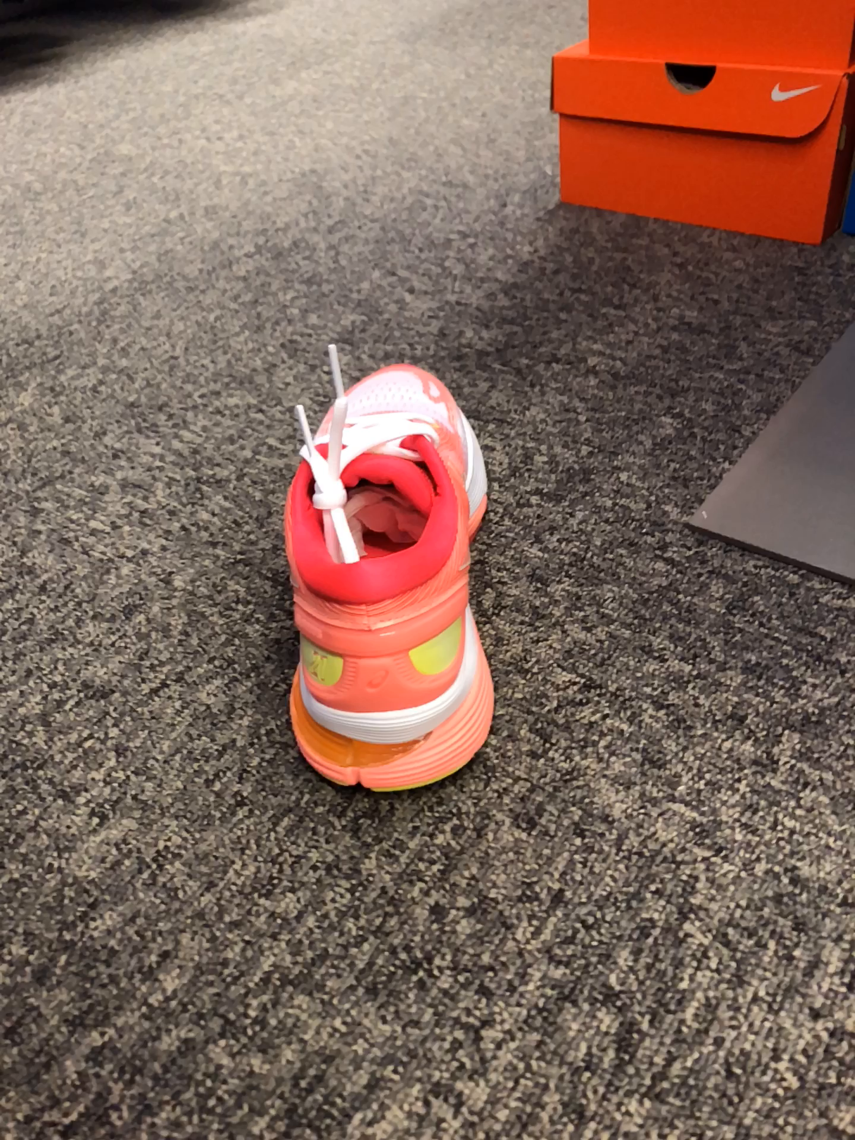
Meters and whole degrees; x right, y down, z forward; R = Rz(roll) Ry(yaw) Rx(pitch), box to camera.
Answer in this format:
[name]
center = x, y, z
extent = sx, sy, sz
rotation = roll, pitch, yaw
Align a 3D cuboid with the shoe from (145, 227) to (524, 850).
[shoe]
center = -0.021, -0.033, 0.418
extent = 0.107, 0.129, 0.269
rotation = -3, 40, 4
